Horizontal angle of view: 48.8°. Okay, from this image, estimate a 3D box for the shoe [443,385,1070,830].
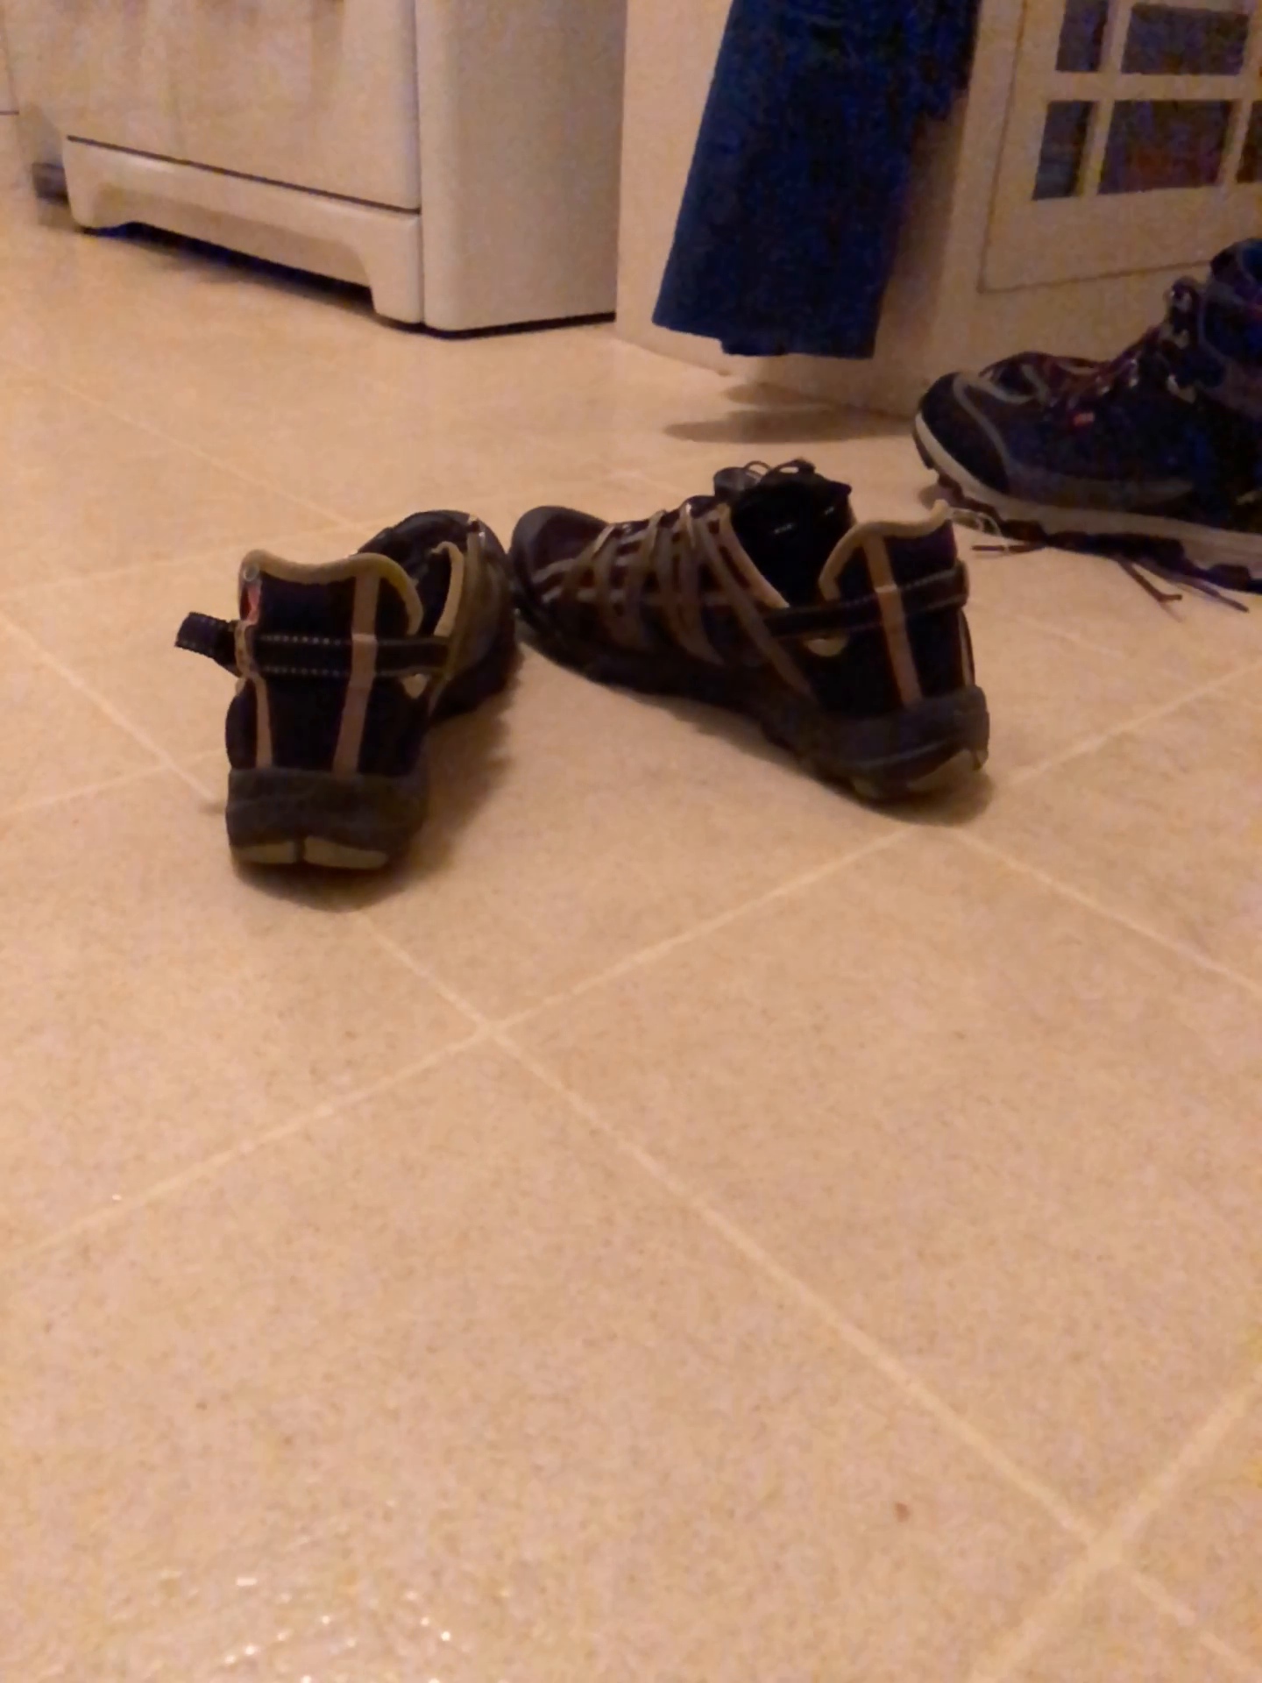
[{"bbox_3d":[0.043,-0.127,0.663,0.109,0.111,0.287,-24,40,-38],"label":"shoe"}]

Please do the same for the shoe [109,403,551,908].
[{"bbox_3d":[-0.108,-0.098,0.598,0.100,0.109,0.281,6,30,4],"label":"shoe"}]
